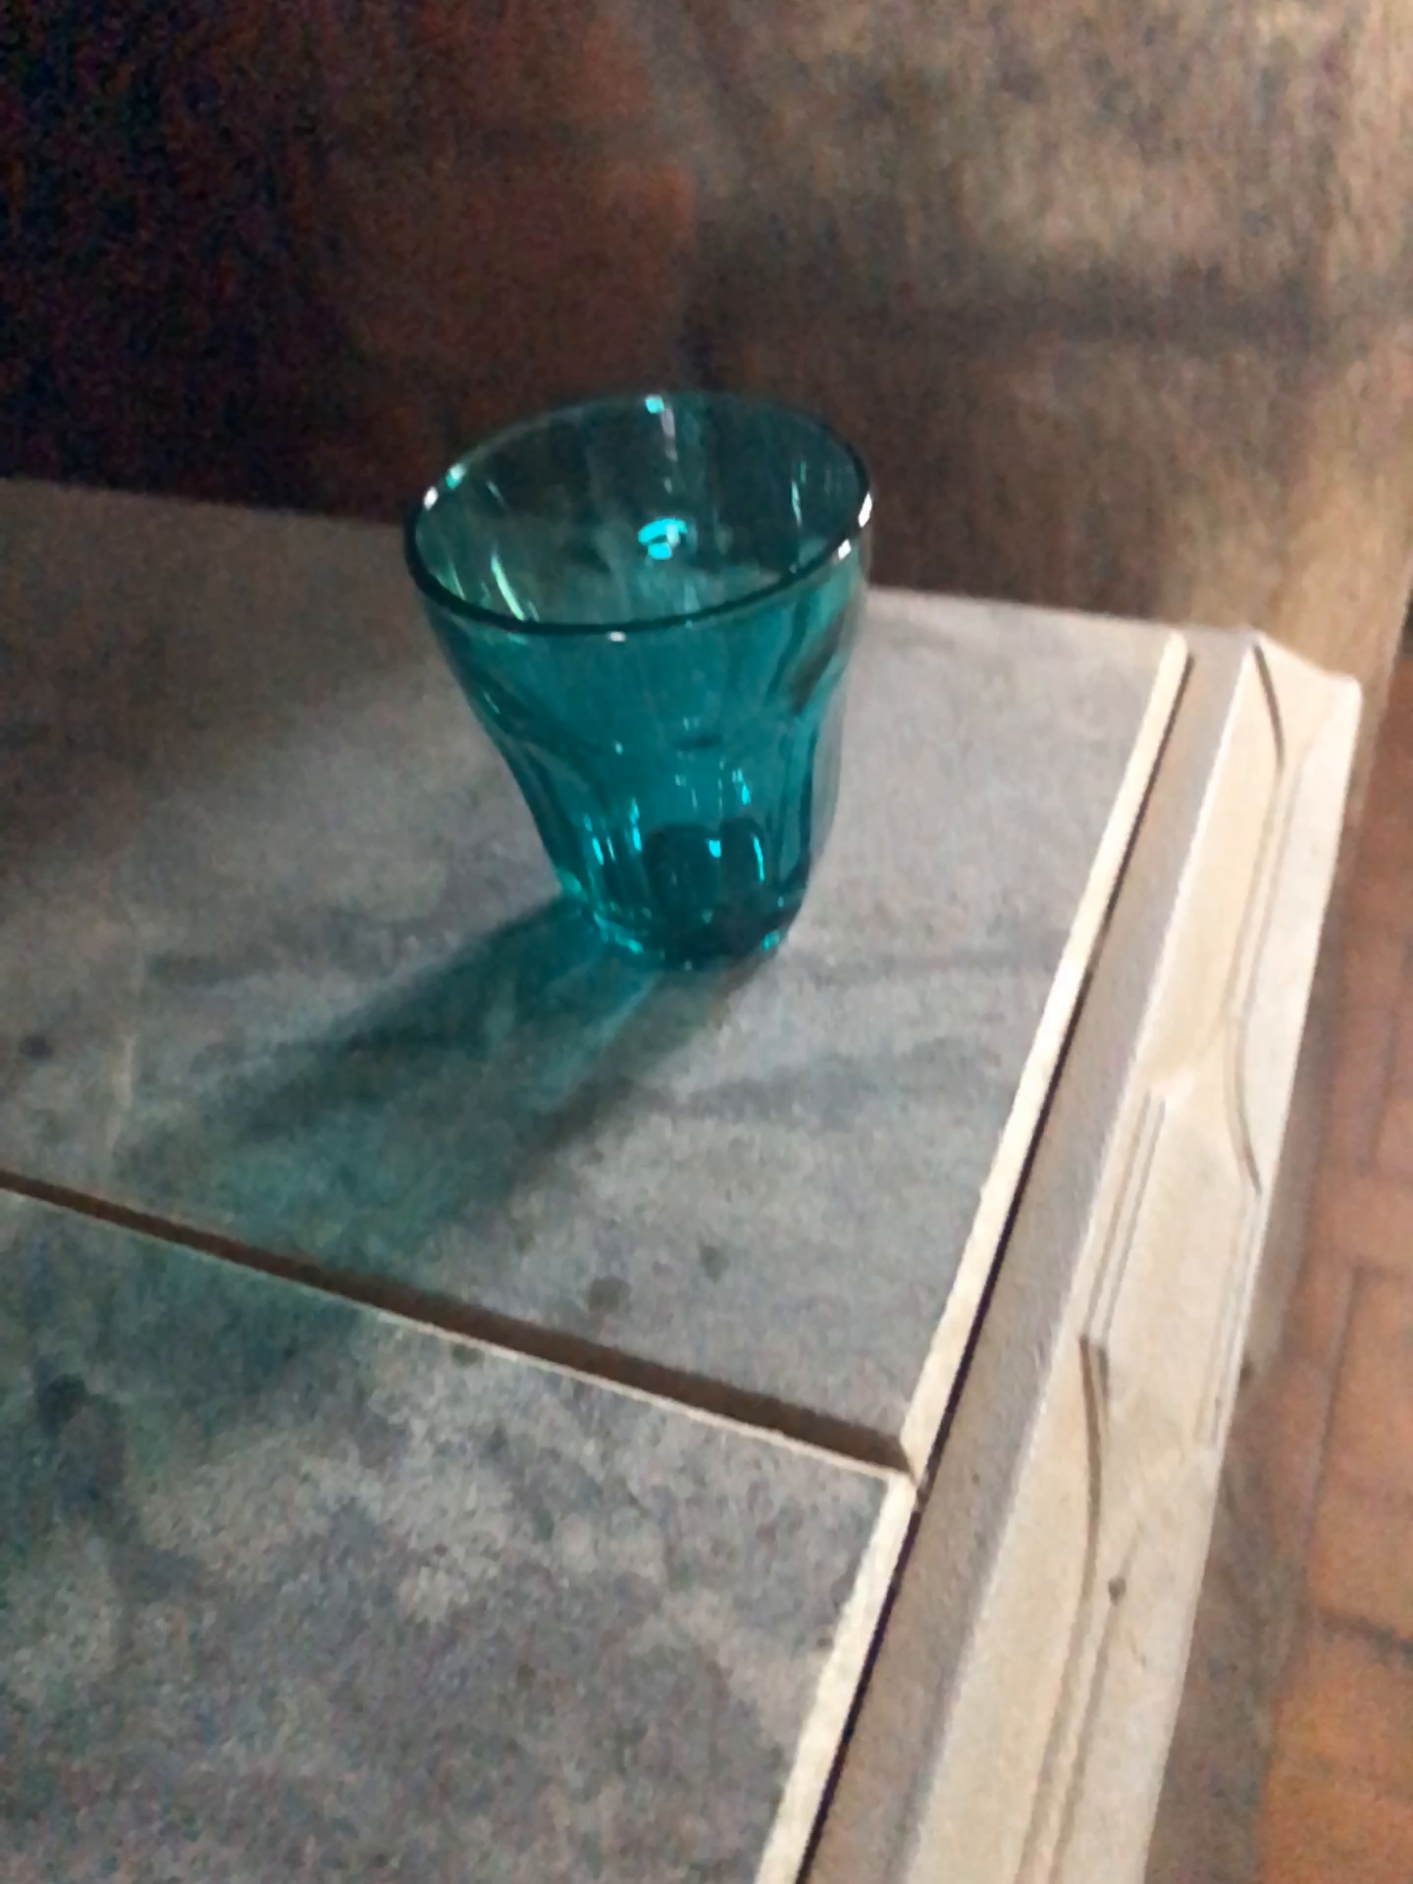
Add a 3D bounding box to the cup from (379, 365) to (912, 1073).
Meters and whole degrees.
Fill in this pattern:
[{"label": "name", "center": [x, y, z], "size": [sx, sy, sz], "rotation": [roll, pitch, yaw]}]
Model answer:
[{"label": "cup", "center": [-0.009, -0.037, 0.261], "size": [0.070, 0.080, 0.070], "rotation": [-4, 44, 4]}]
